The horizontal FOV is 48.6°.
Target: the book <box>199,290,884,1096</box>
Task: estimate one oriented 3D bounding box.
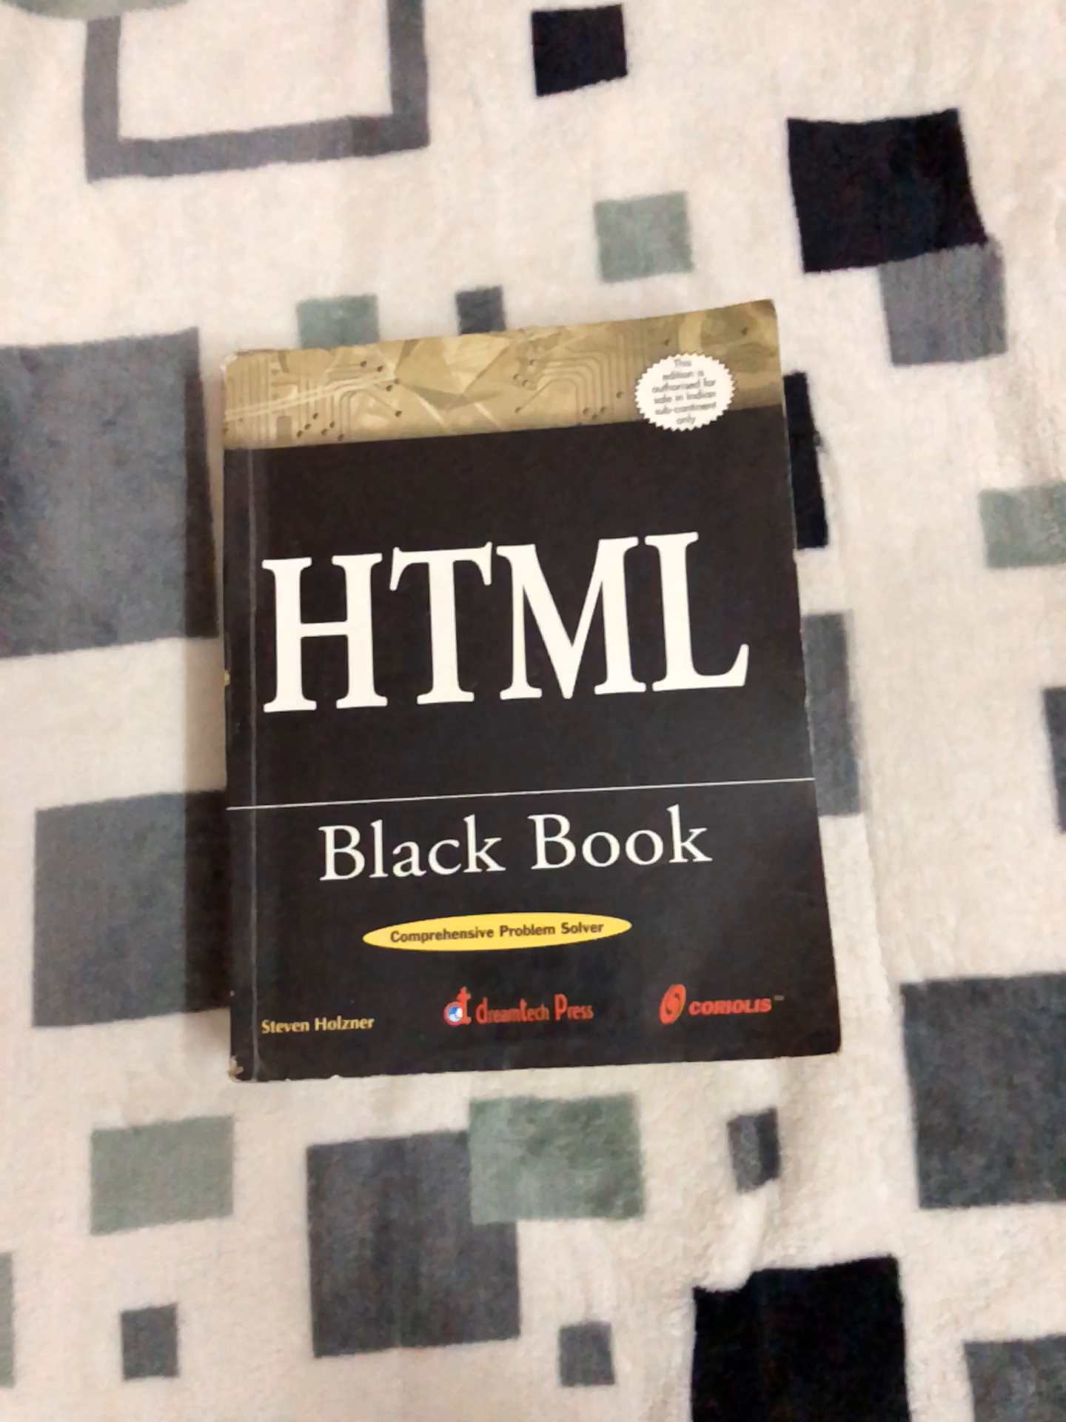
[{"bbox_3d":[-0.003,-0.004,0.385,0.190,0.070,0.230,-4,79,4],"label":"book"}]
